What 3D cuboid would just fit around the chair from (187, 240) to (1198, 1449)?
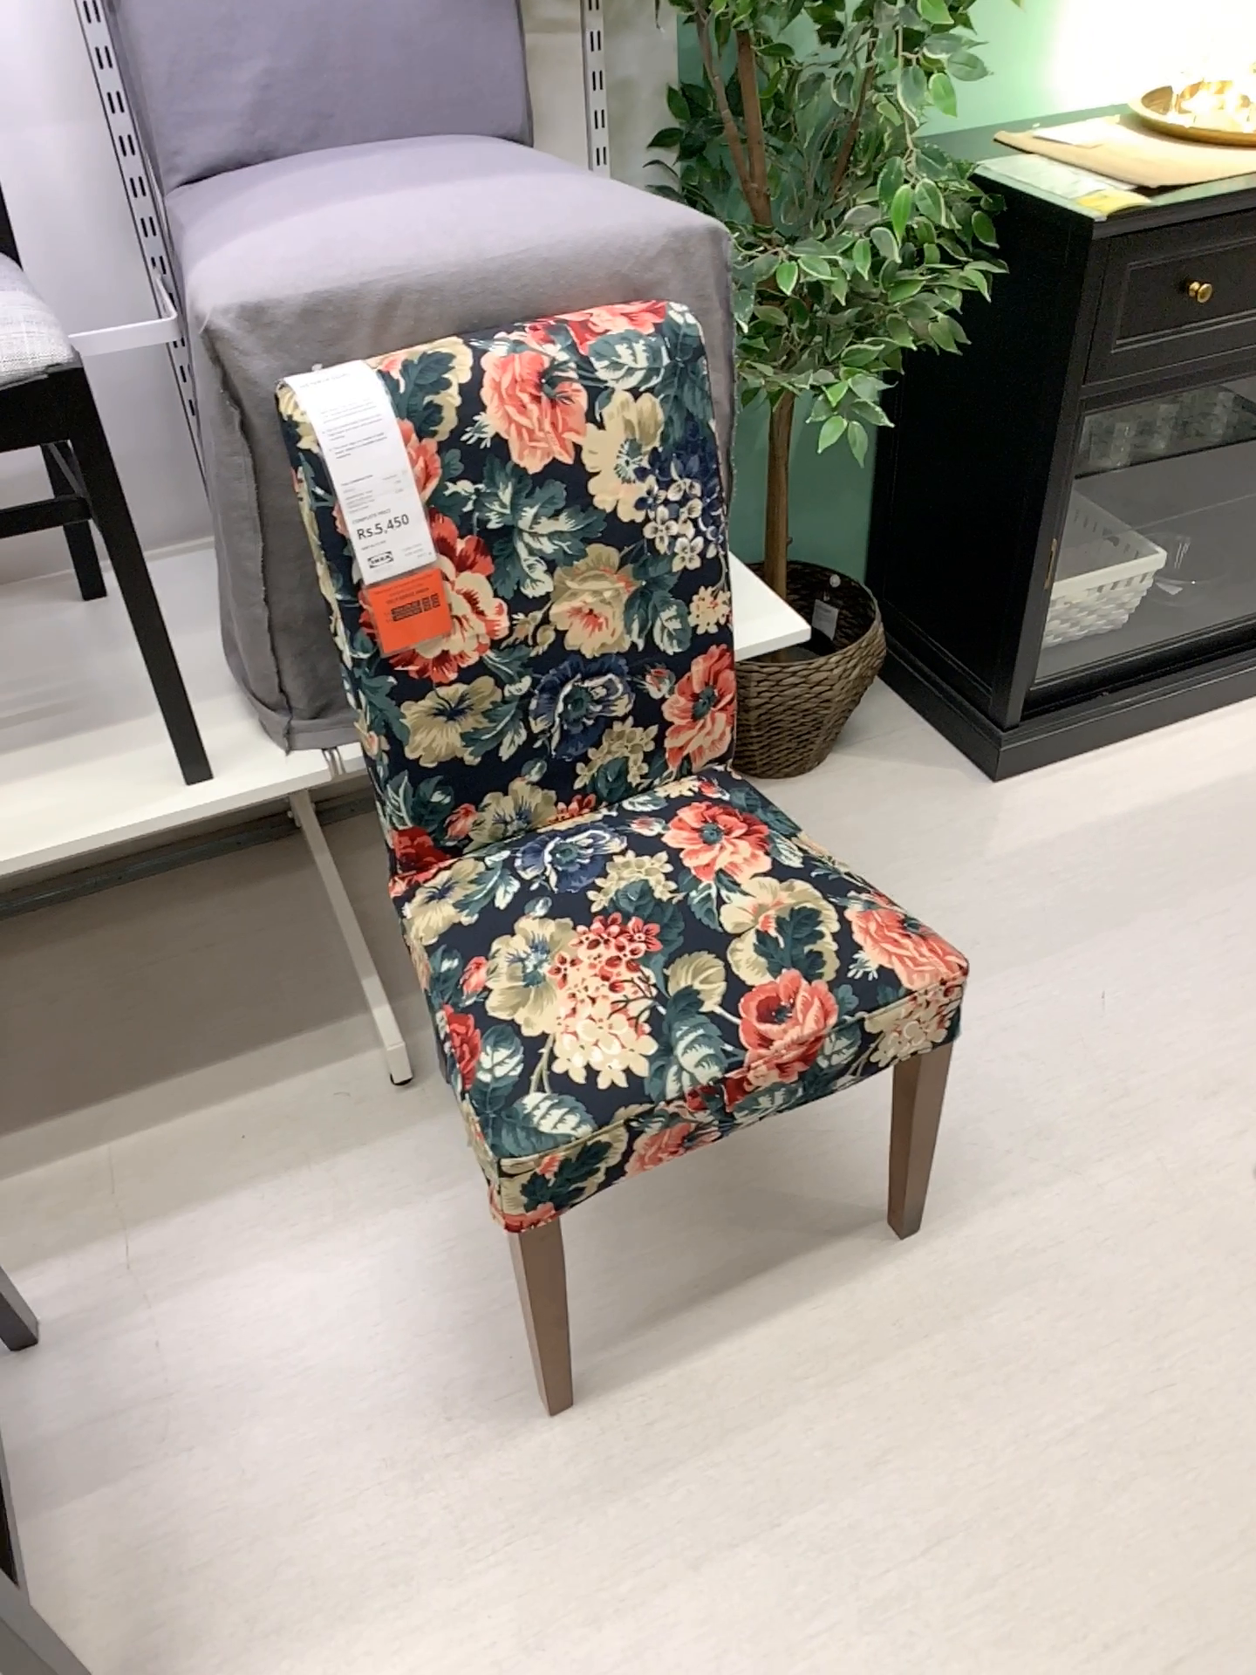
[{"bbox_3d":[0.014,0.003,1.259,0.560,0.886,0.602,-18,42,-17],"label":"chair"}]
